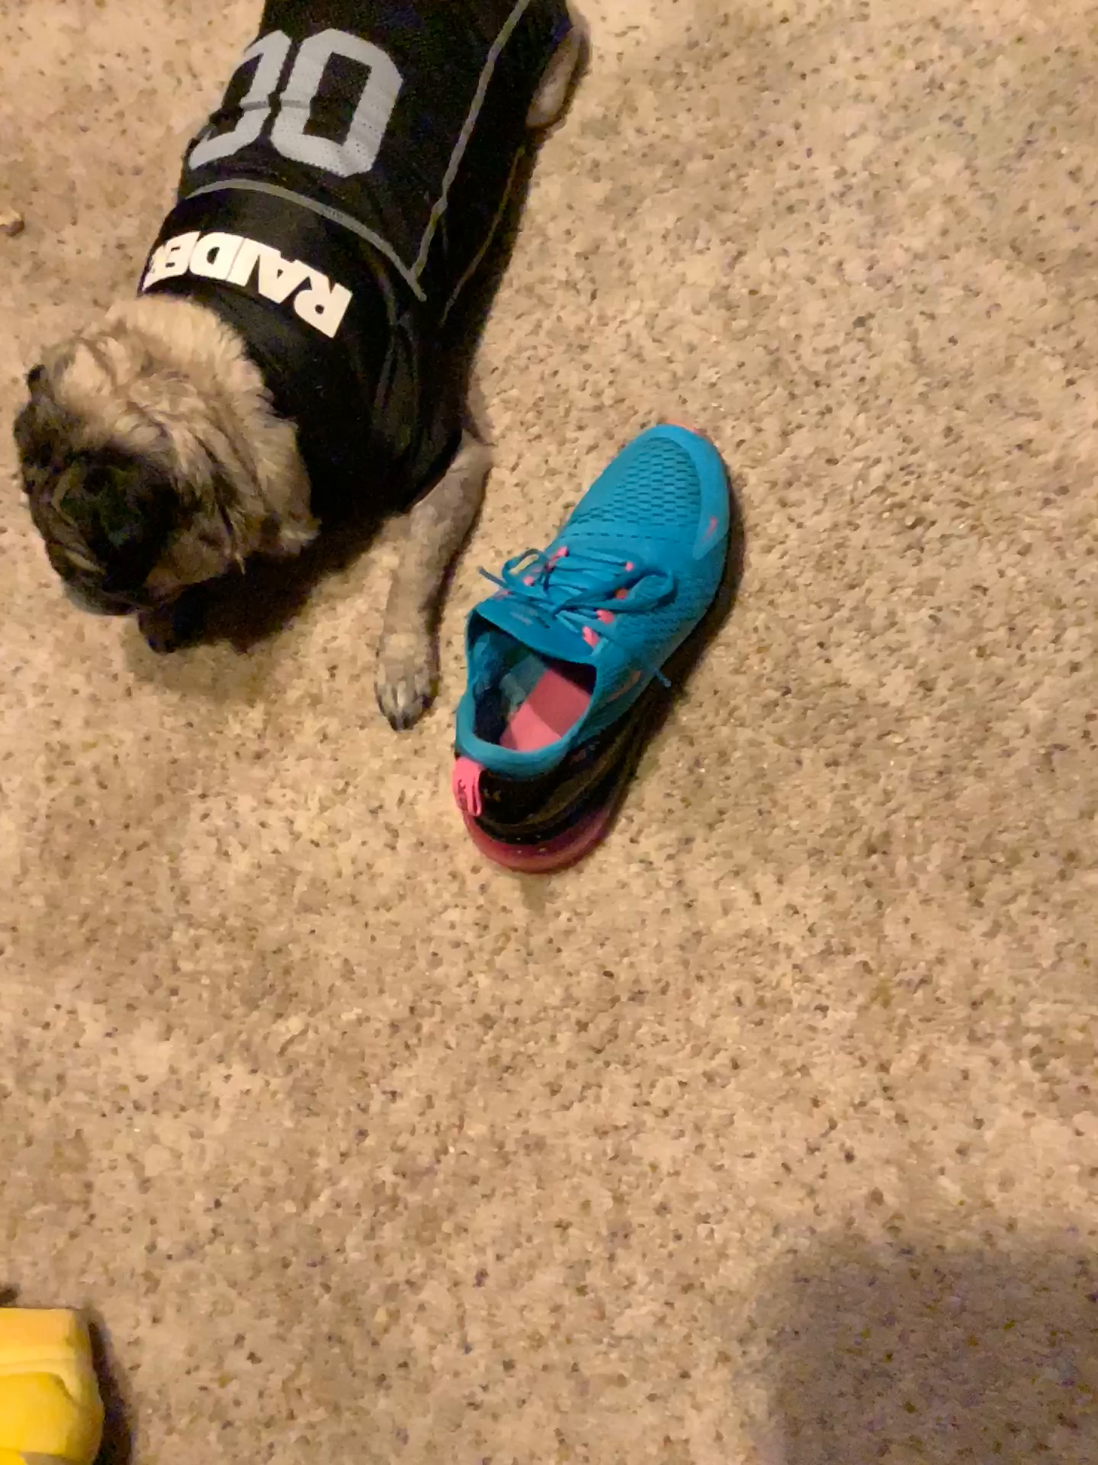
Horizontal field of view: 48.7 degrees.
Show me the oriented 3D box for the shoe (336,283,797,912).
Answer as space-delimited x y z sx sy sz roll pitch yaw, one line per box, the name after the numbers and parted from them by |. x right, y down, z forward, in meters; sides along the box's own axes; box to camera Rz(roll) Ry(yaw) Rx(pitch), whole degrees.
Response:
0.025 -0.081 0.757 0.130 0.140 0.340 21 79 20 | shoe
